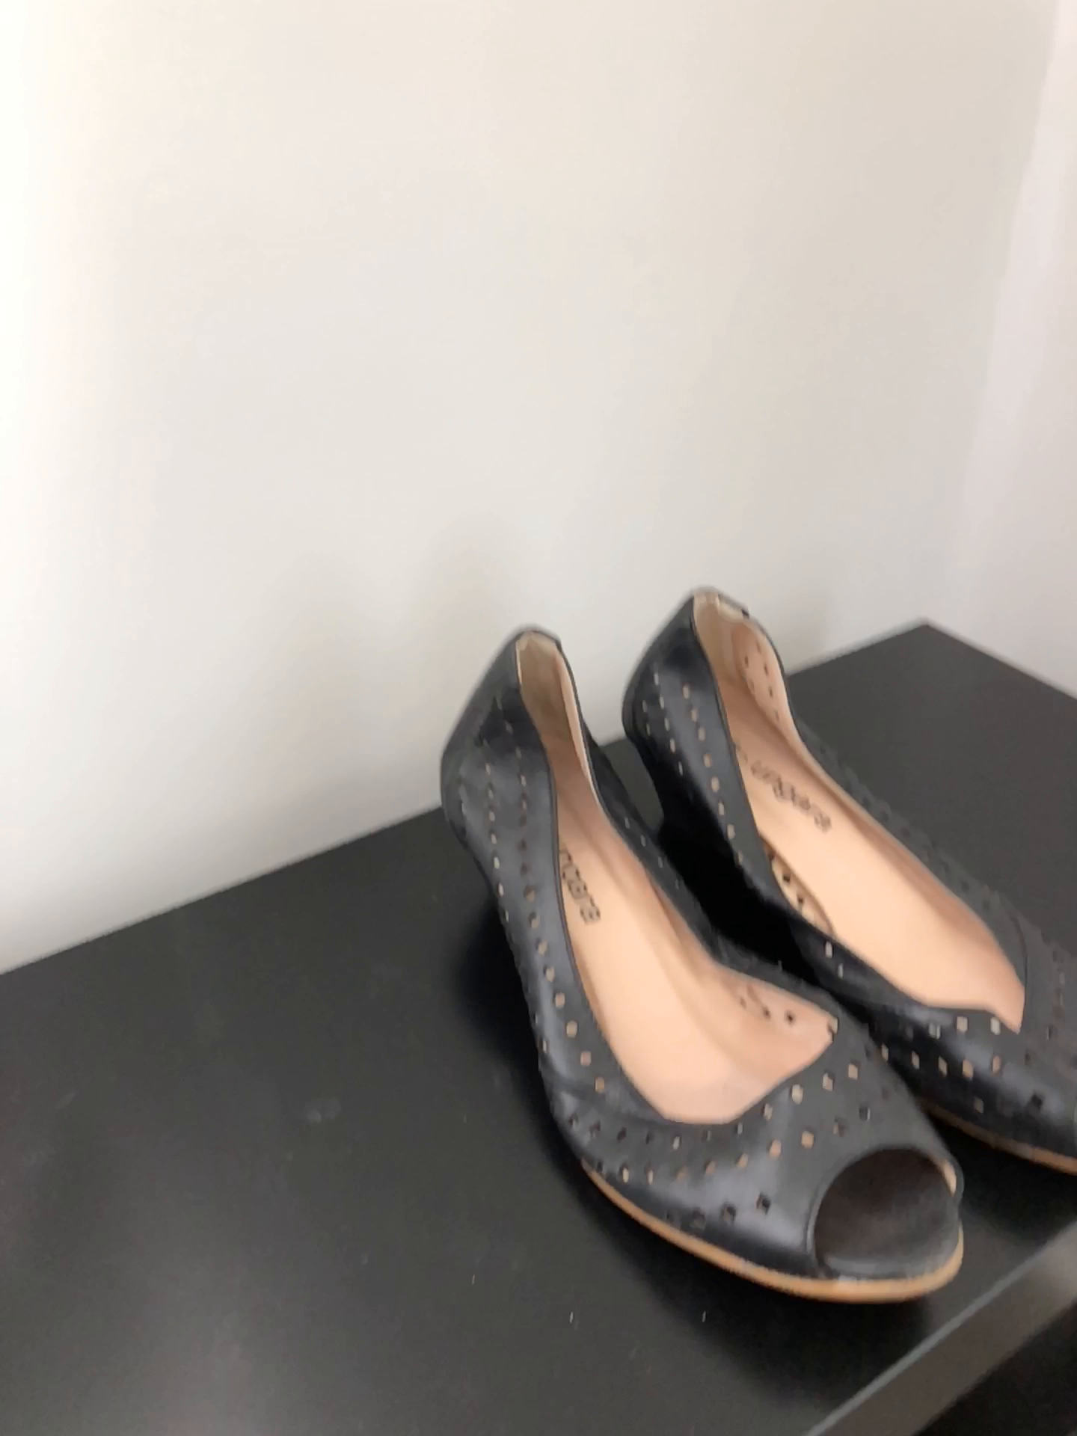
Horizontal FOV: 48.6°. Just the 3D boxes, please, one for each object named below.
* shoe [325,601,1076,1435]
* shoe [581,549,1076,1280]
[{"bbox_3d":[0.028,0.065,0.351,0.085,0.100,0.231,-18,37,-27],"label":"shoe"},{"bbox_3d":[0.114,0.040,0.376,0.085,0.100,0.221,-20,37,-29],"label":"shoe"}]
